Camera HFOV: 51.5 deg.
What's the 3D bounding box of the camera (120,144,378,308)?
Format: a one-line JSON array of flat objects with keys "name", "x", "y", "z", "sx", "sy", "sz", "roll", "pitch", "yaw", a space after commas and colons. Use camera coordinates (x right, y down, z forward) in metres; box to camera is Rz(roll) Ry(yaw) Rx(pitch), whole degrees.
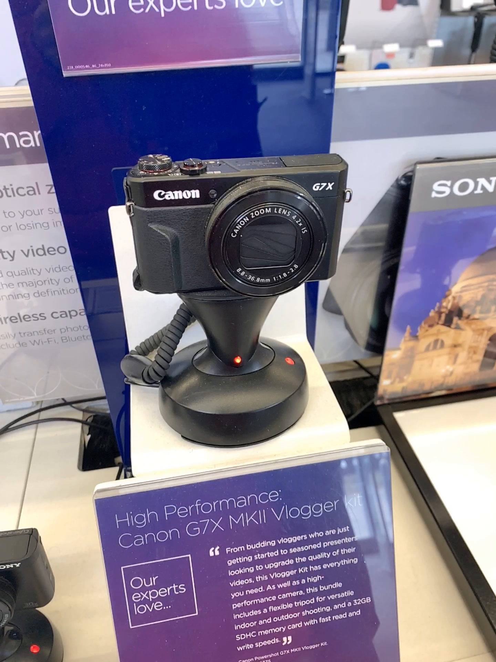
[{"name": "camera", "x": 0.000, "y": -0.051, "z": 0.246, "sx": 0.108, "sy": 0.059, "sz": 0.038, "roll": -5, "pitch": 34, "yaw": -5}]
